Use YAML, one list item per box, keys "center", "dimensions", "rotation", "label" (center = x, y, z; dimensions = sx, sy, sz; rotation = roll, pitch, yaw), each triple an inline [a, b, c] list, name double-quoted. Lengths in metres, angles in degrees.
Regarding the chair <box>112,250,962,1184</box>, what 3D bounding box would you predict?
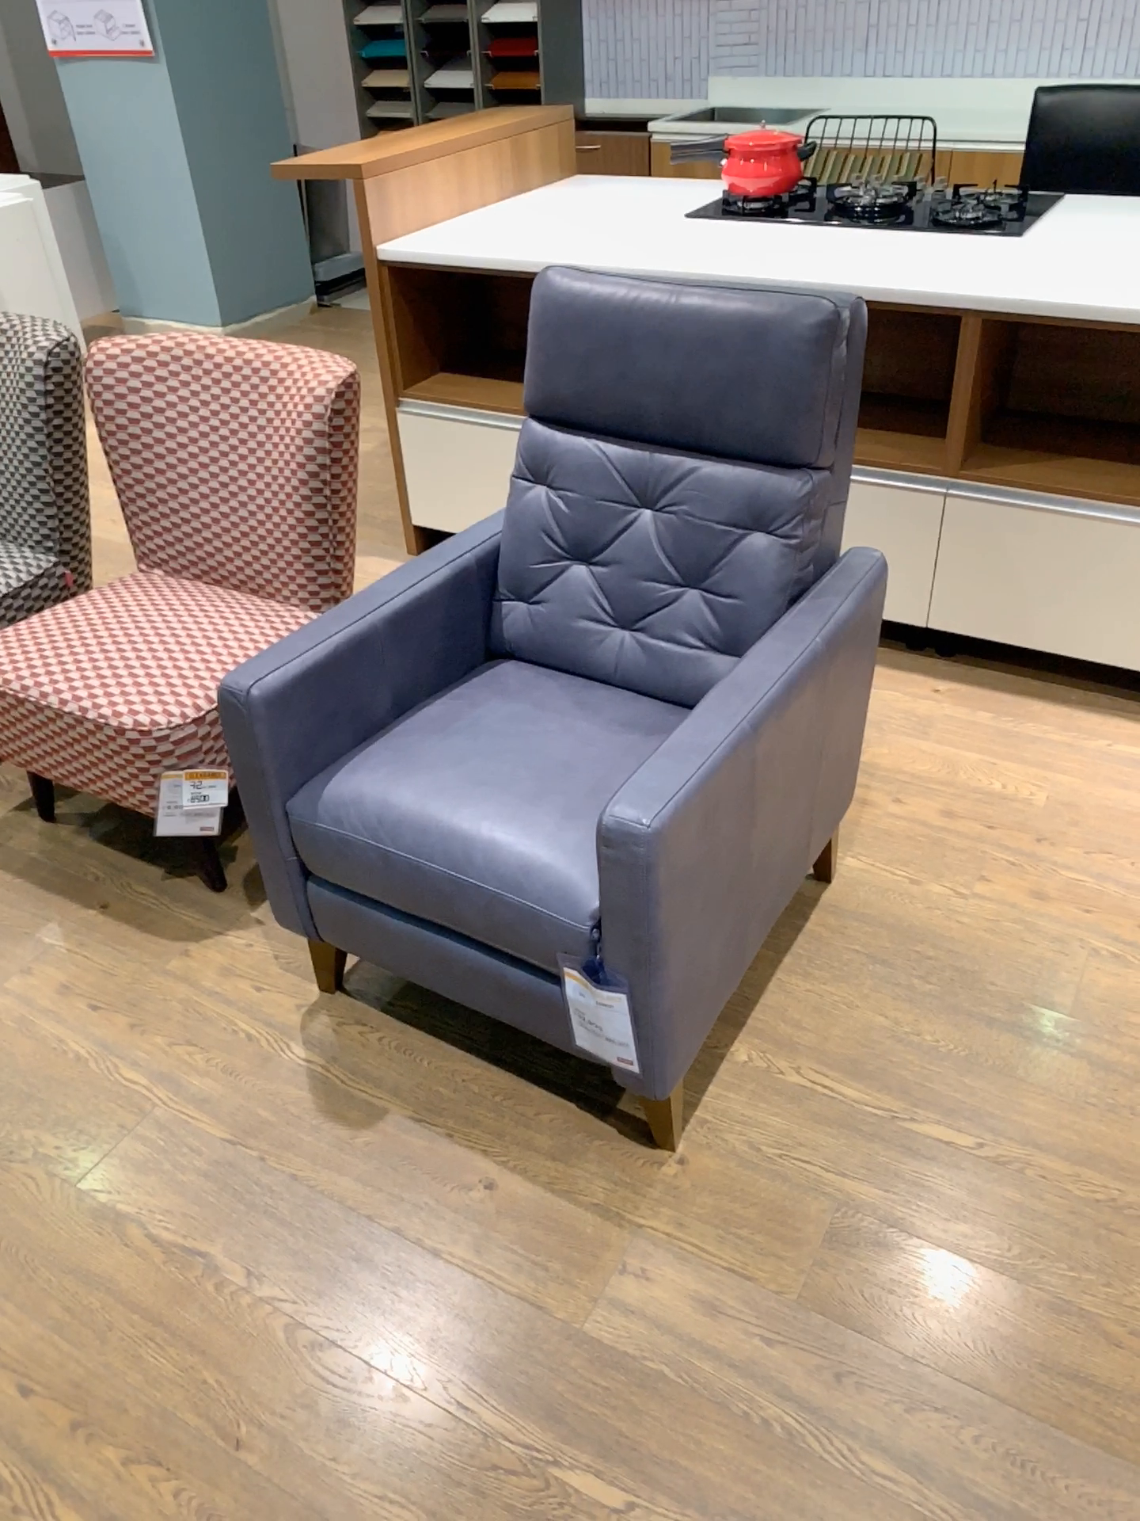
- center: [0.024, -0.141, 1.796]
  dimensions: [0.771, 0.996, 0.852]
  rotation: [17, 40, 27]
  label: "chair"
